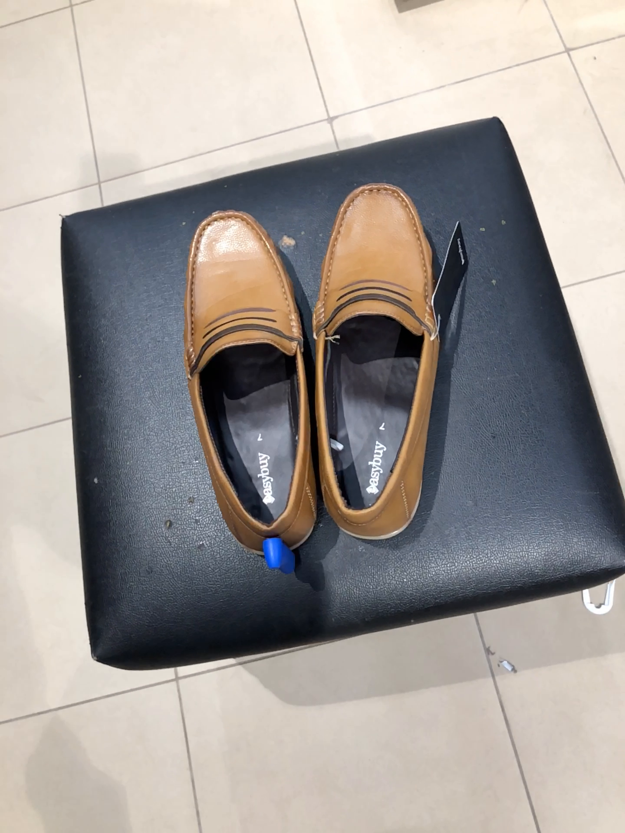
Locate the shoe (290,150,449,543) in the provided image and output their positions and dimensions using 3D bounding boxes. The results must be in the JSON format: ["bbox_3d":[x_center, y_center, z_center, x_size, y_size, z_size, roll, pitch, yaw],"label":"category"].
[{"bbox_3d":[0.043,-0.049,0.509,0.098,0.088,0.273,-1,73,7],"label":"shoe"}]

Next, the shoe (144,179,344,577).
[{"bbox_3d":[-0.052,-0.028,0.519,0.098,0.088,0.273,-11,72,4],"label":"shoe"}]
